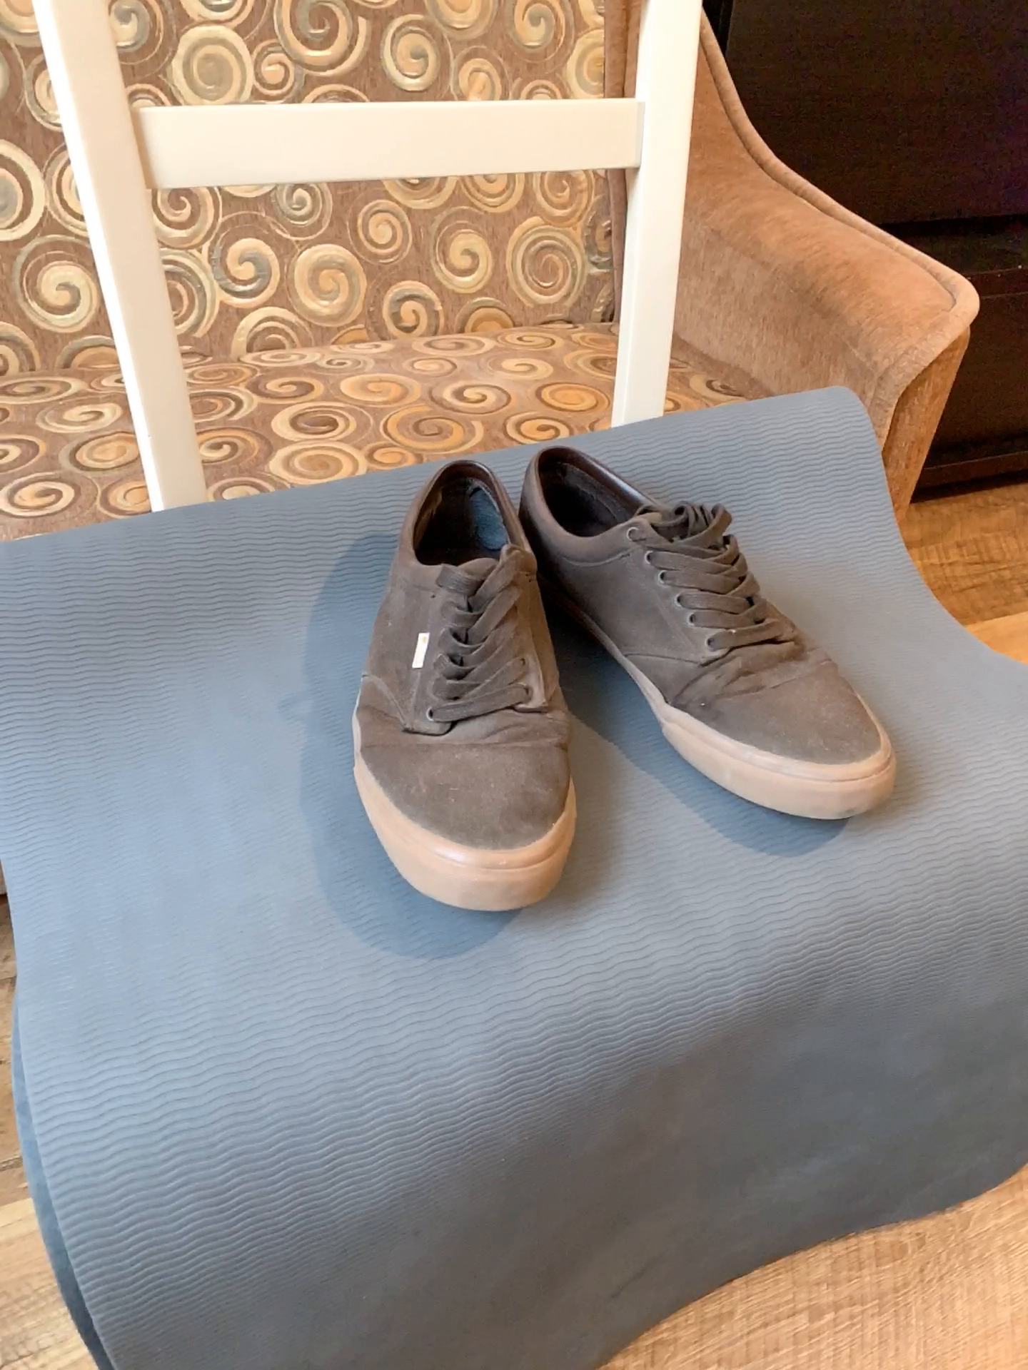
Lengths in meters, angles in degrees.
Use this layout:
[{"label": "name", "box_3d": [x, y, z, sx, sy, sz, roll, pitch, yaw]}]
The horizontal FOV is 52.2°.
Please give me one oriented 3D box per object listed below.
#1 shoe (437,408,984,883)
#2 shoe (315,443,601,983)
[{"label": "shoe", "box_3d": [0.084, -0.045, 0.590, 0.110, 0.080, 0.321, -20, 45, -26]}, {"label": "shoe", "box_3d": [-0.043, -0.014, 0.559, 0.110, 0.080, 0.342, -2, 40, -7]}]
